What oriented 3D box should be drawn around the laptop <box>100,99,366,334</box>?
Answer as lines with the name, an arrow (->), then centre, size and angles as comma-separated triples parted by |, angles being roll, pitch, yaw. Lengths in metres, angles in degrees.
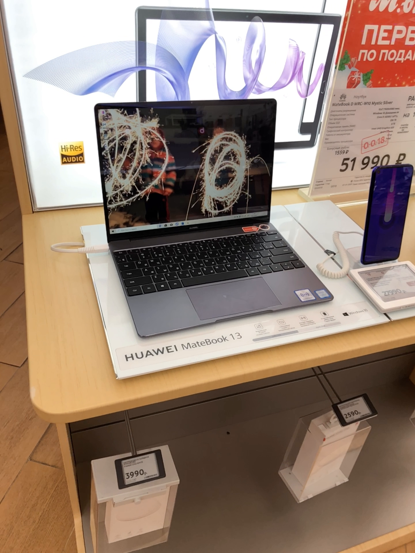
laptop -> 0.013, -0.104, 0.632 | 0.274, 0.192, 0.245 | -9, 40, -18
